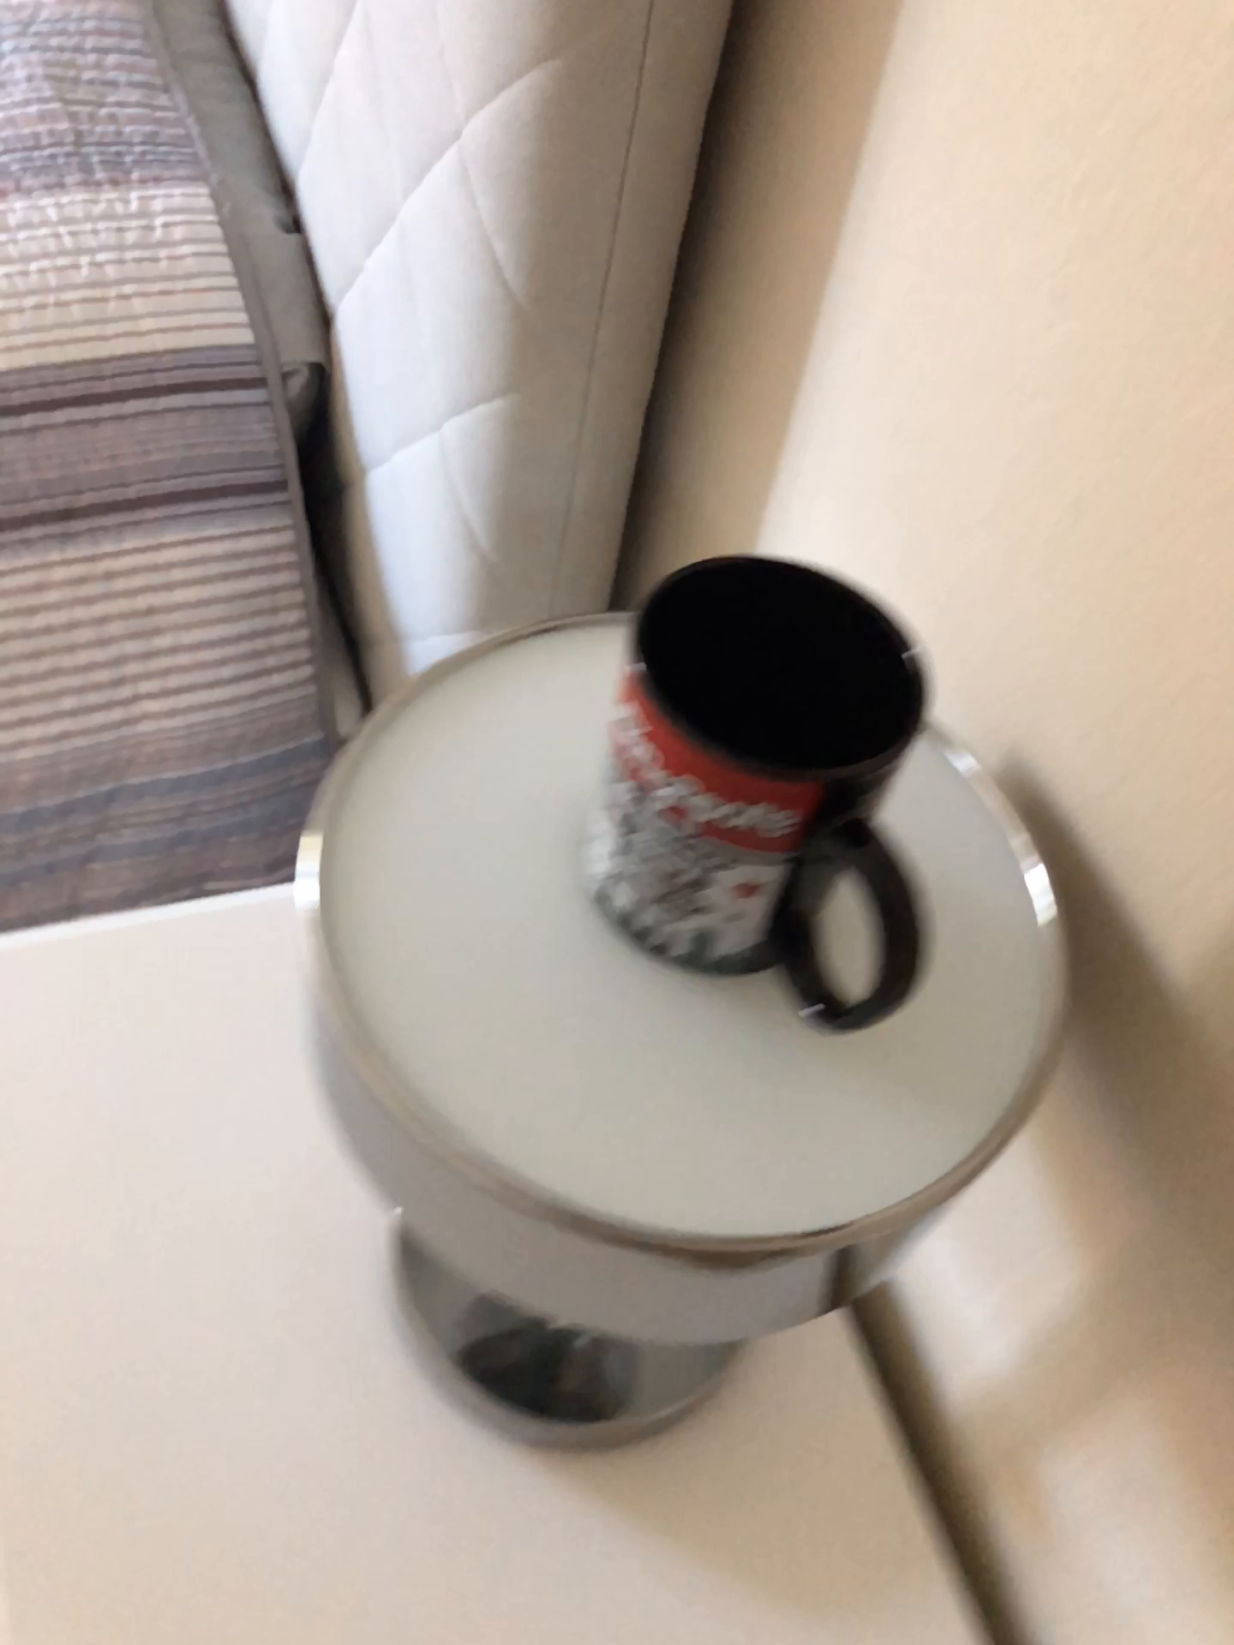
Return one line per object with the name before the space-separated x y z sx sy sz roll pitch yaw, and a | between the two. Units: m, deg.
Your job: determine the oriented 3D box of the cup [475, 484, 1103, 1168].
cup | 0.034 -0.002 0.370 0.090 0.100 0.130 -20 58 -24
